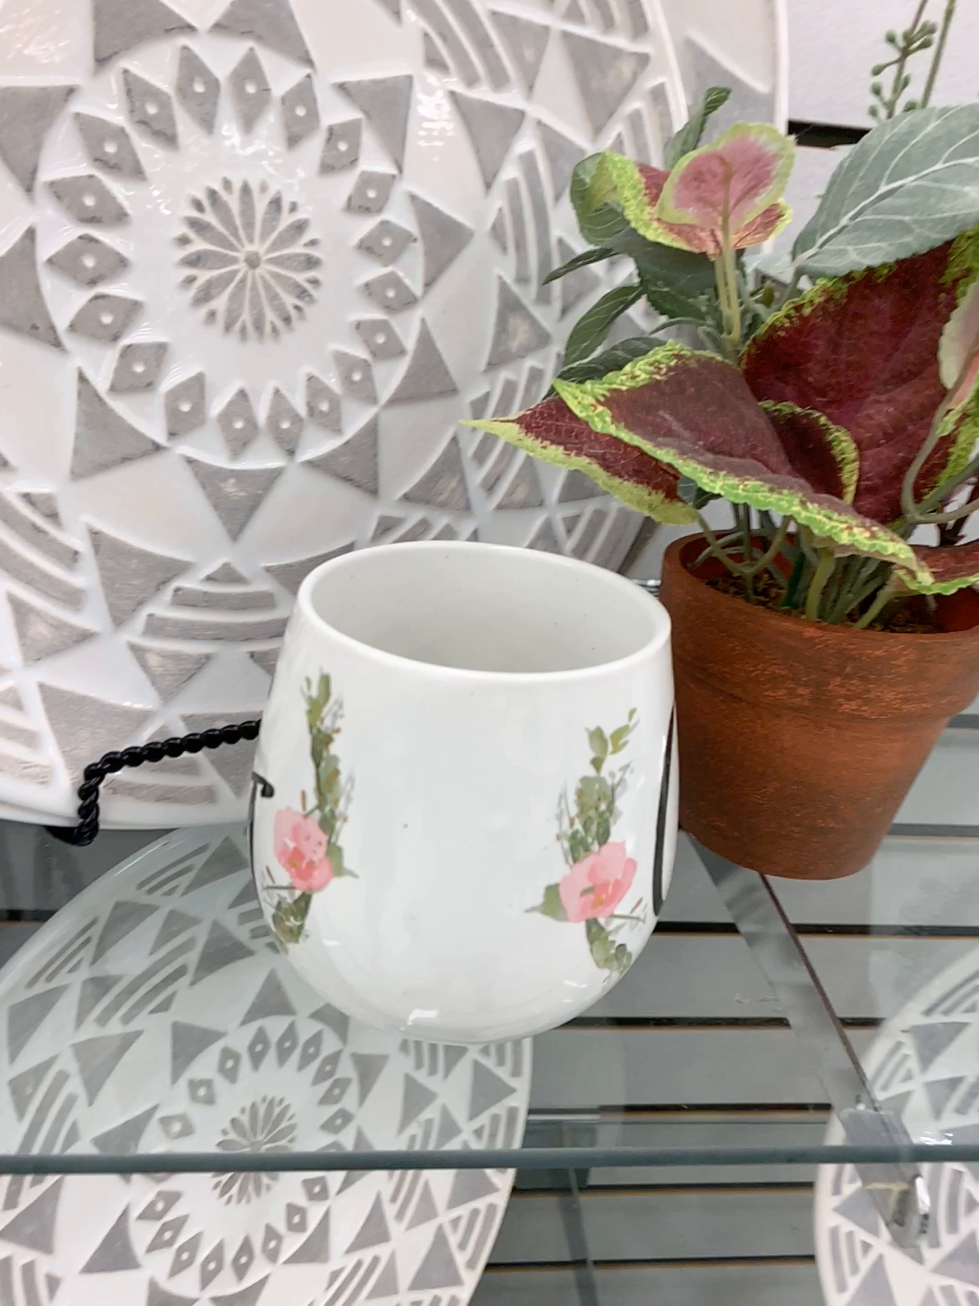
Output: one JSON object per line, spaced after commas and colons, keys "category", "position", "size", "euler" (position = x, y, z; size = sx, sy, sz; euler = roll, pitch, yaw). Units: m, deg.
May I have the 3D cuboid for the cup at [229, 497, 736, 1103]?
{"category": "cup", "position": [0.001, 0.024, 0.236], "size": [0.089, 0.090, 0.100], "euler": [8, 22, 6]}
